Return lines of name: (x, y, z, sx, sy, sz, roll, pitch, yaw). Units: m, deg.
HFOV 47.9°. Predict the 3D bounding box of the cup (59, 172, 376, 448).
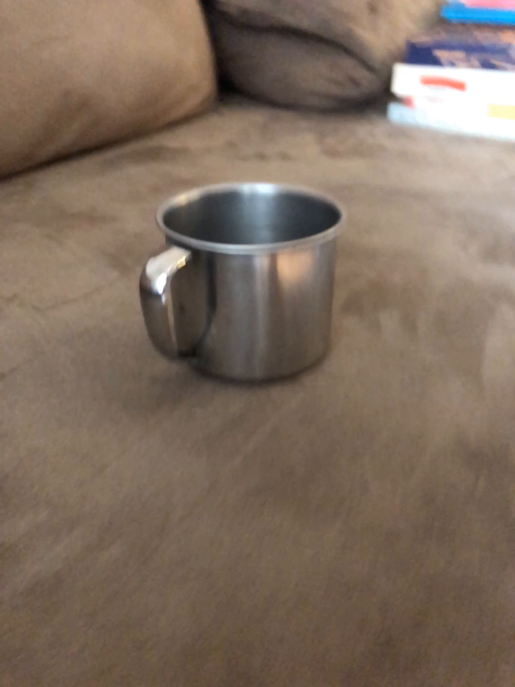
cup: (-0.012, -0.026, 0.271, 0.090, 0.069, 0.111, 18, 37, 29)
